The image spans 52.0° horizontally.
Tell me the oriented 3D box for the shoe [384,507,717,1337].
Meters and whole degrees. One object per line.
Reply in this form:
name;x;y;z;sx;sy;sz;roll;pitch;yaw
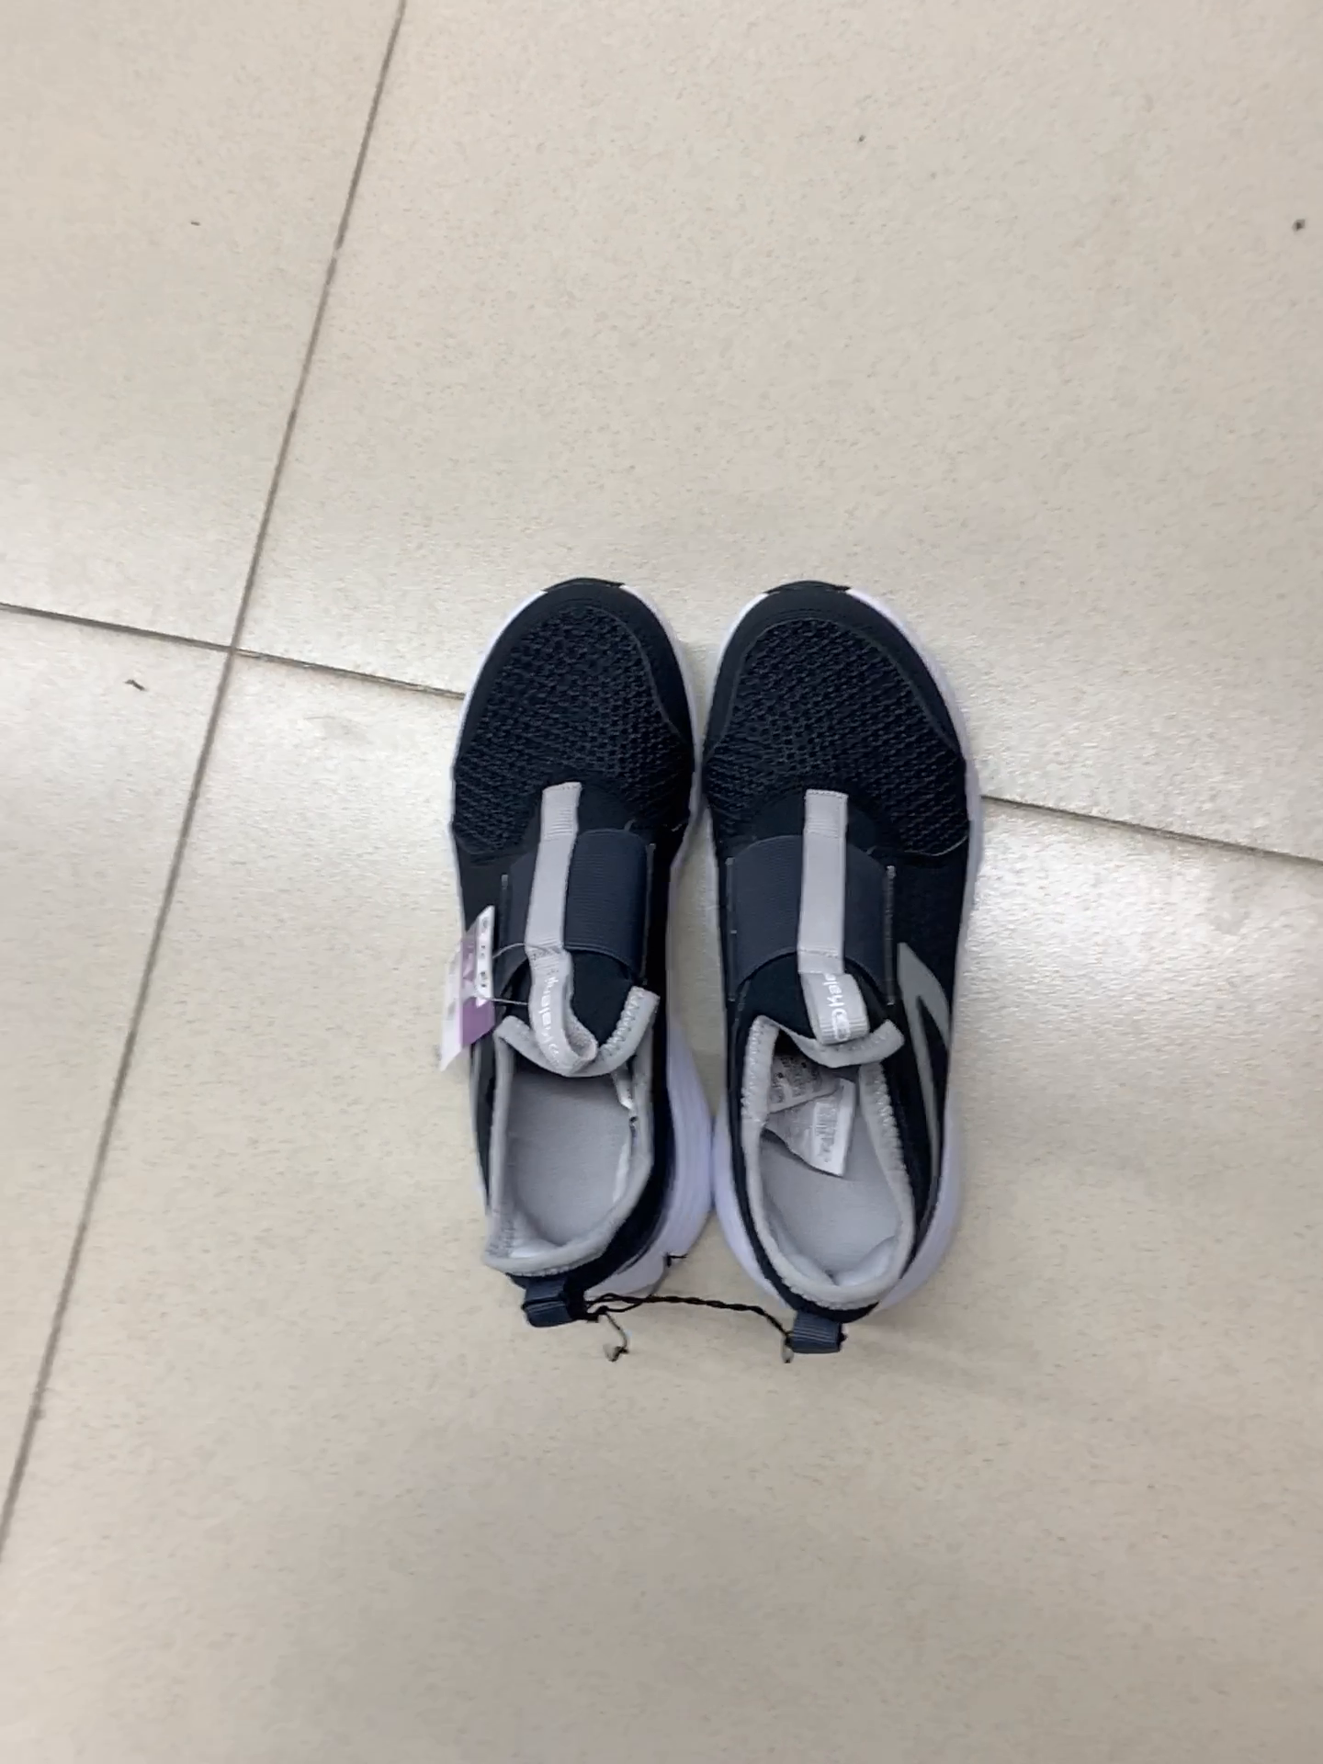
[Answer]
shoe;-0.033;0.013;0.454;0.090;0.080;0.250;-2;83;10

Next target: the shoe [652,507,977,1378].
shoe;0.049;0.018;0.436;0.090;0.080;0.250;-2;83;10
